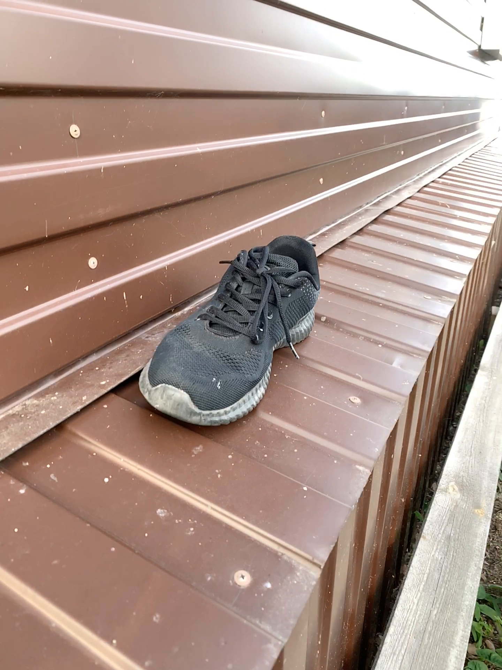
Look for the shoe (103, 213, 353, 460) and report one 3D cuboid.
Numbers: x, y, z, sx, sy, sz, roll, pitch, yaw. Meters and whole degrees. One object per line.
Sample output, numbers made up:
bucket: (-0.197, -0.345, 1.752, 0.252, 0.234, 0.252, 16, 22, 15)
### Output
shoe: (-0.004, -0.027, 0.528, 0.120, 0.119, 0.302, 20, 29, 17)
